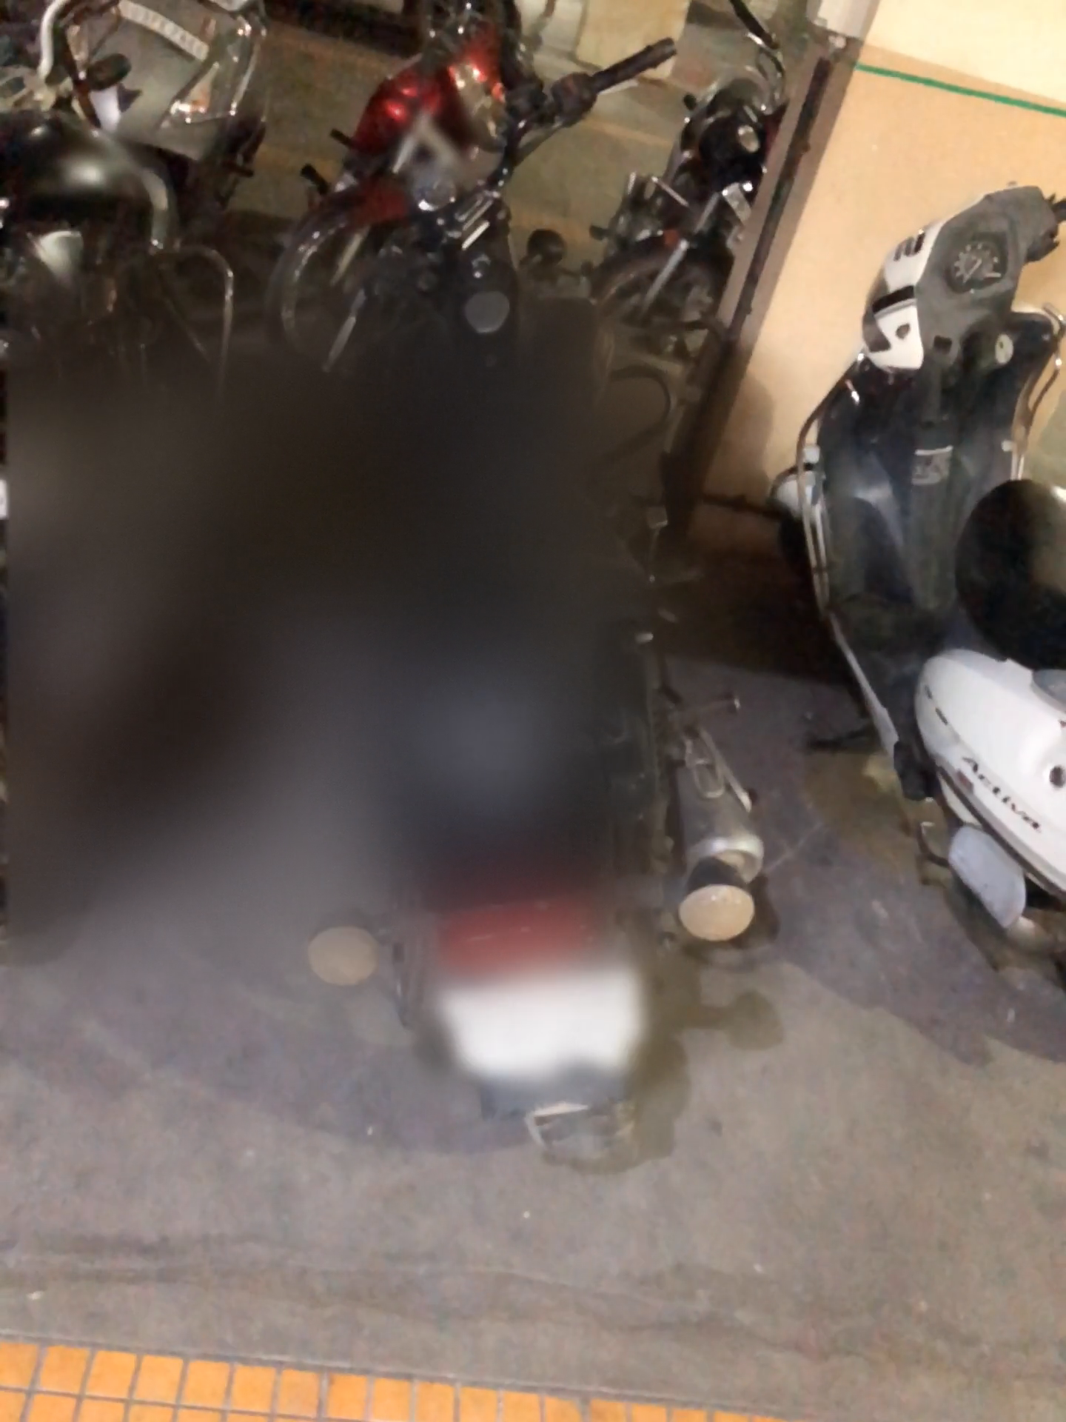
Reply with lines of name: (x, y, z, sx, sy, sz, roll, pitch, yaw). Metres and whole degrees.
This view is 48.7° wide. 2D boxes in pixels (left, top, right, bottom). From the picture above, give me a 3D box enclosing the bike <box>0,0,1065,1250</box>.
bike: (-0.169, -0.364, 1.759, 0.863, 1.251, 1.677, 6, 39, -14)
